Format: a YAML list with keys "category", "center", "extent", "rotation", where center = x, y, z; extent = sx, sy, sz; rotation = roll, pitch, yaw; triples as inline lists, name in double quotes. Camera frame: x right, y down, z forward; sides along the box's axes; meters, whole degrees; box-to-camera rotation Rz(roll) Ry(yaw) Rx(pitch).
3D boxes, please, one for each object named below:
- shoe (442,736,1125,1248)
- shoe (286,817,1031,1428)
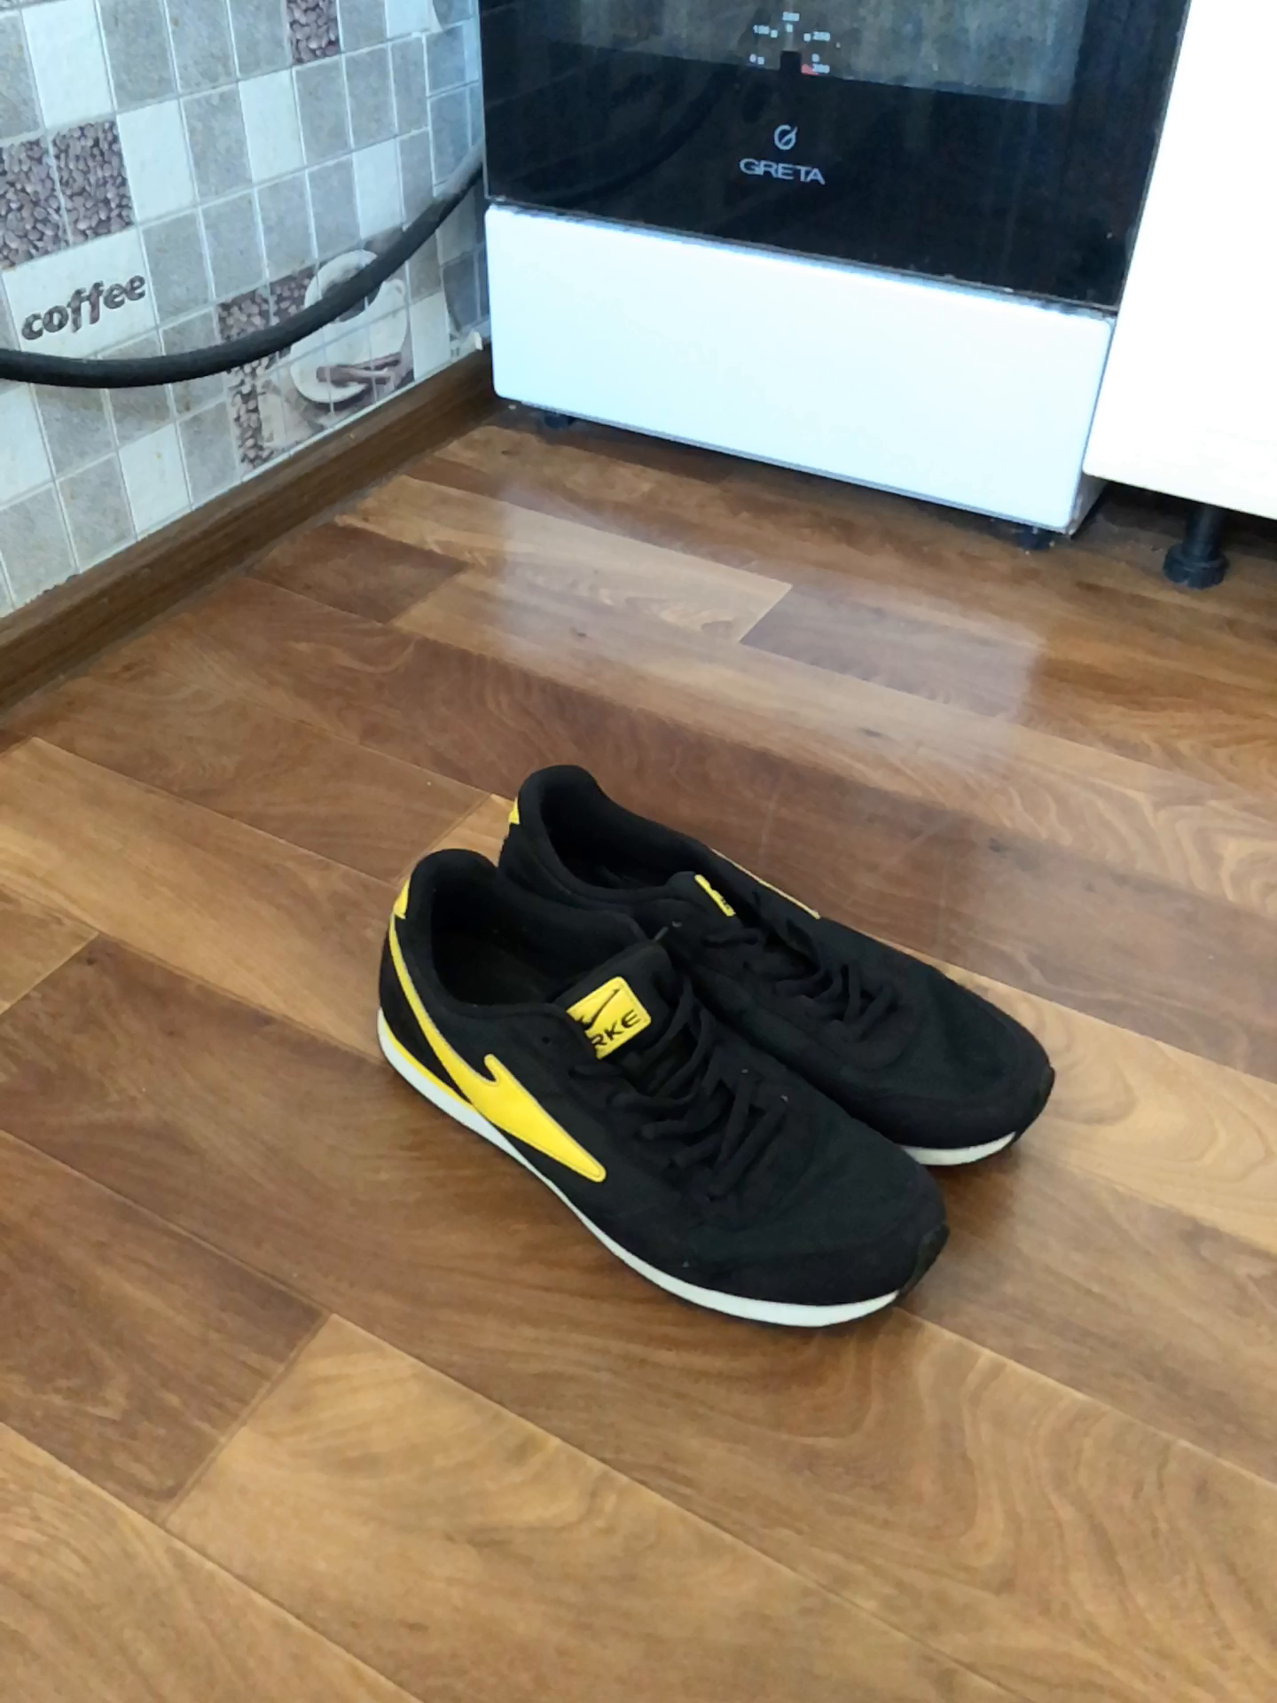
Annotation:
- category: "shoe"
  center: [0.059, 0.054, 0.671]
  extent: [0.301, 0.079, 0.111]
  rotation: [24, 45, 25]
- category: "shoe"
  center: [-0.001, 0.101, 0.604]
  extent: [0.301, 0.079, 0.111]
  rotation: [26, 45, 26]
